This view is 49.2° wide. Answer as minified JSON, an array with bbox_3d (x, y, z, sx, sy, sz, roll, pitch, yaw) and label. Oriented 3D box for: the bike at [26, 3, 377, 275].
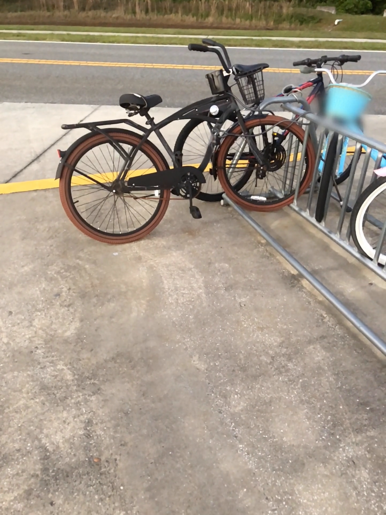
[{"bbox_3d":[0.003,-0.827,2.674,1.721,1.117,0.833,-16,36,-17],"label":"bike"}]
